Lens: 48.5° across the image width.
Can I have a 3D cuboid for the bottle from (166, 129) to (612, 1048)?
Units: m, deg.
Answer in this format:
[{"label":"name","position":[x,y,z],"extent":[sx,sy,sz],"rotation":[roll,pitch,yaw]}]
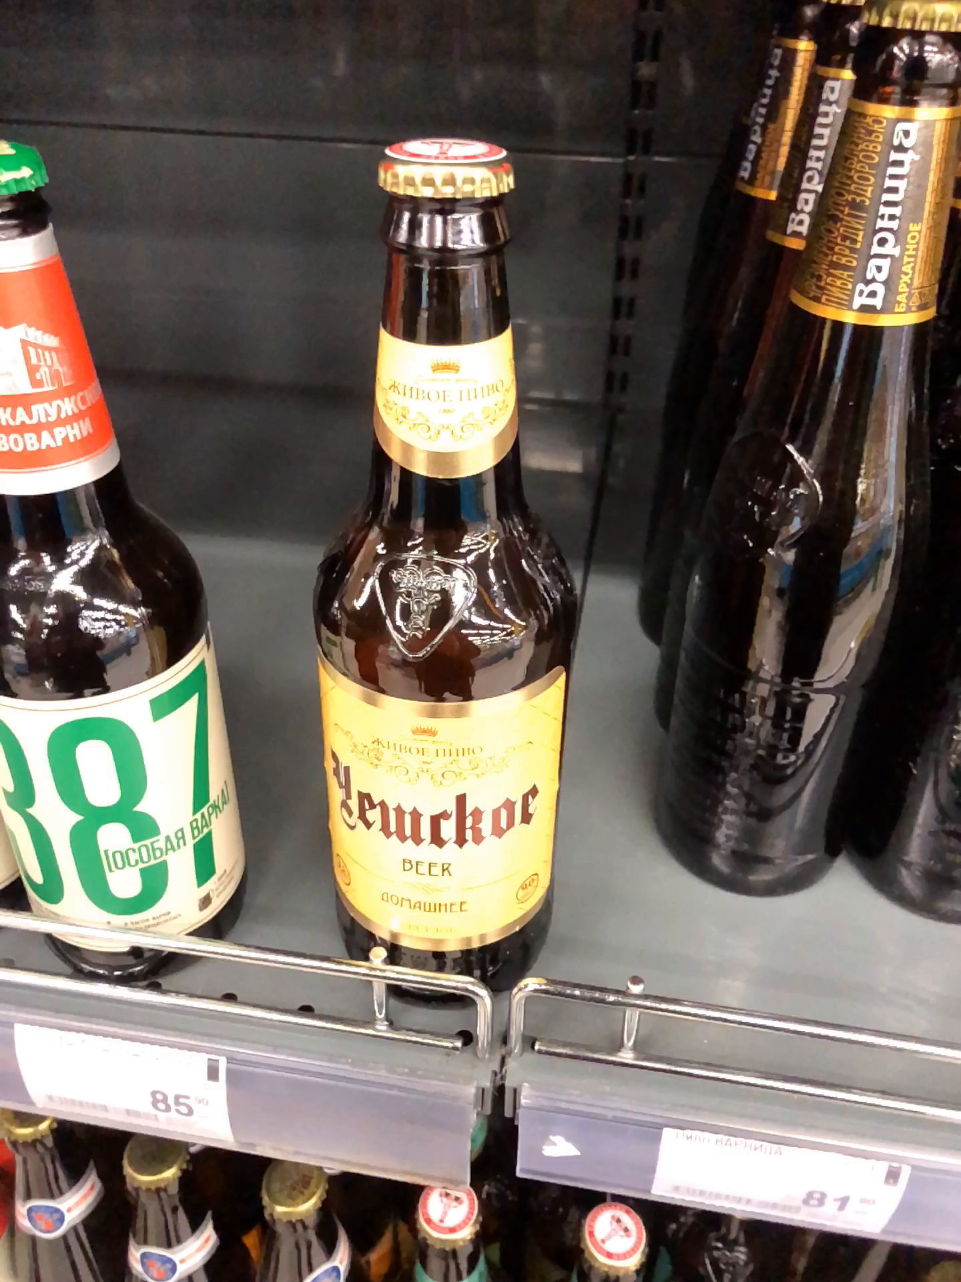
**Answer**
[{"label":"bottle","position":[-0.015,-0.001,0.291],"extent":[0.080,0.239,0.080],"rotation":[1,35,0]}]
